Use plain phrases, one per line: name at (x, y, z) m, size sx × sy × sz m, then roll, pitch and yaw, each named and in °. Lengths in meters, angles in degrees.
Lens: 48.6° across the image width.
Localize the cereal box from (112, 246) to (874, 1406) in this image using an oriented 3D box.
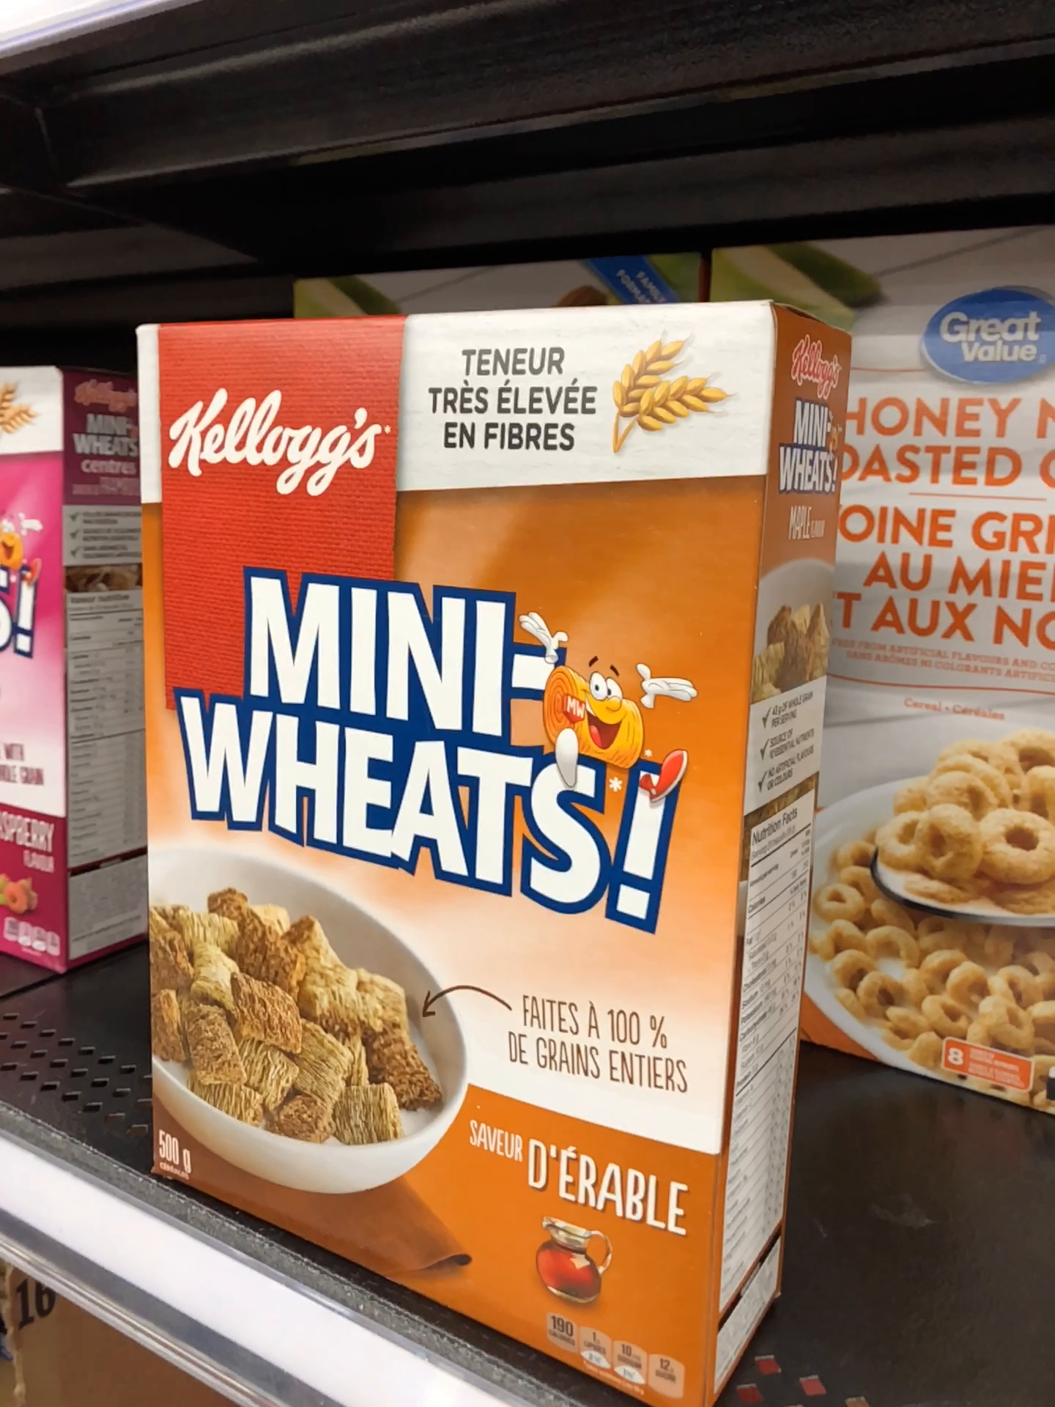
cereal box at (-0.021, 0.026, 0.329) m, size 0.200 × 0.269 × 0.060 m, roll 8°, pitch 12°, yaw 32°
